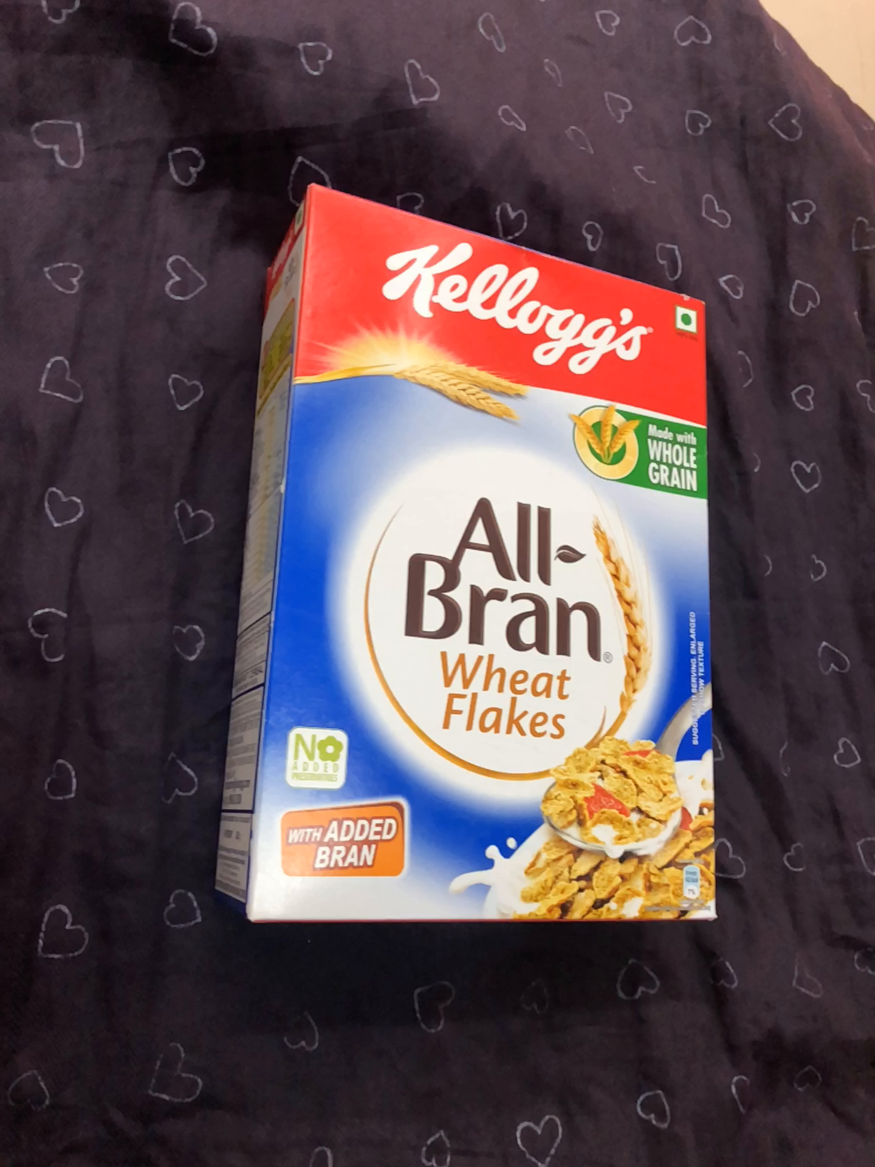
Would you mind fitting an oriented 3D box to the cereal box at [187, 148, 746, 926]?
[{"bbox_3d":[0.018,-0.008,0.380,0.190,0.070,0.260,8,75,-23],"label":"cereal box"}]
